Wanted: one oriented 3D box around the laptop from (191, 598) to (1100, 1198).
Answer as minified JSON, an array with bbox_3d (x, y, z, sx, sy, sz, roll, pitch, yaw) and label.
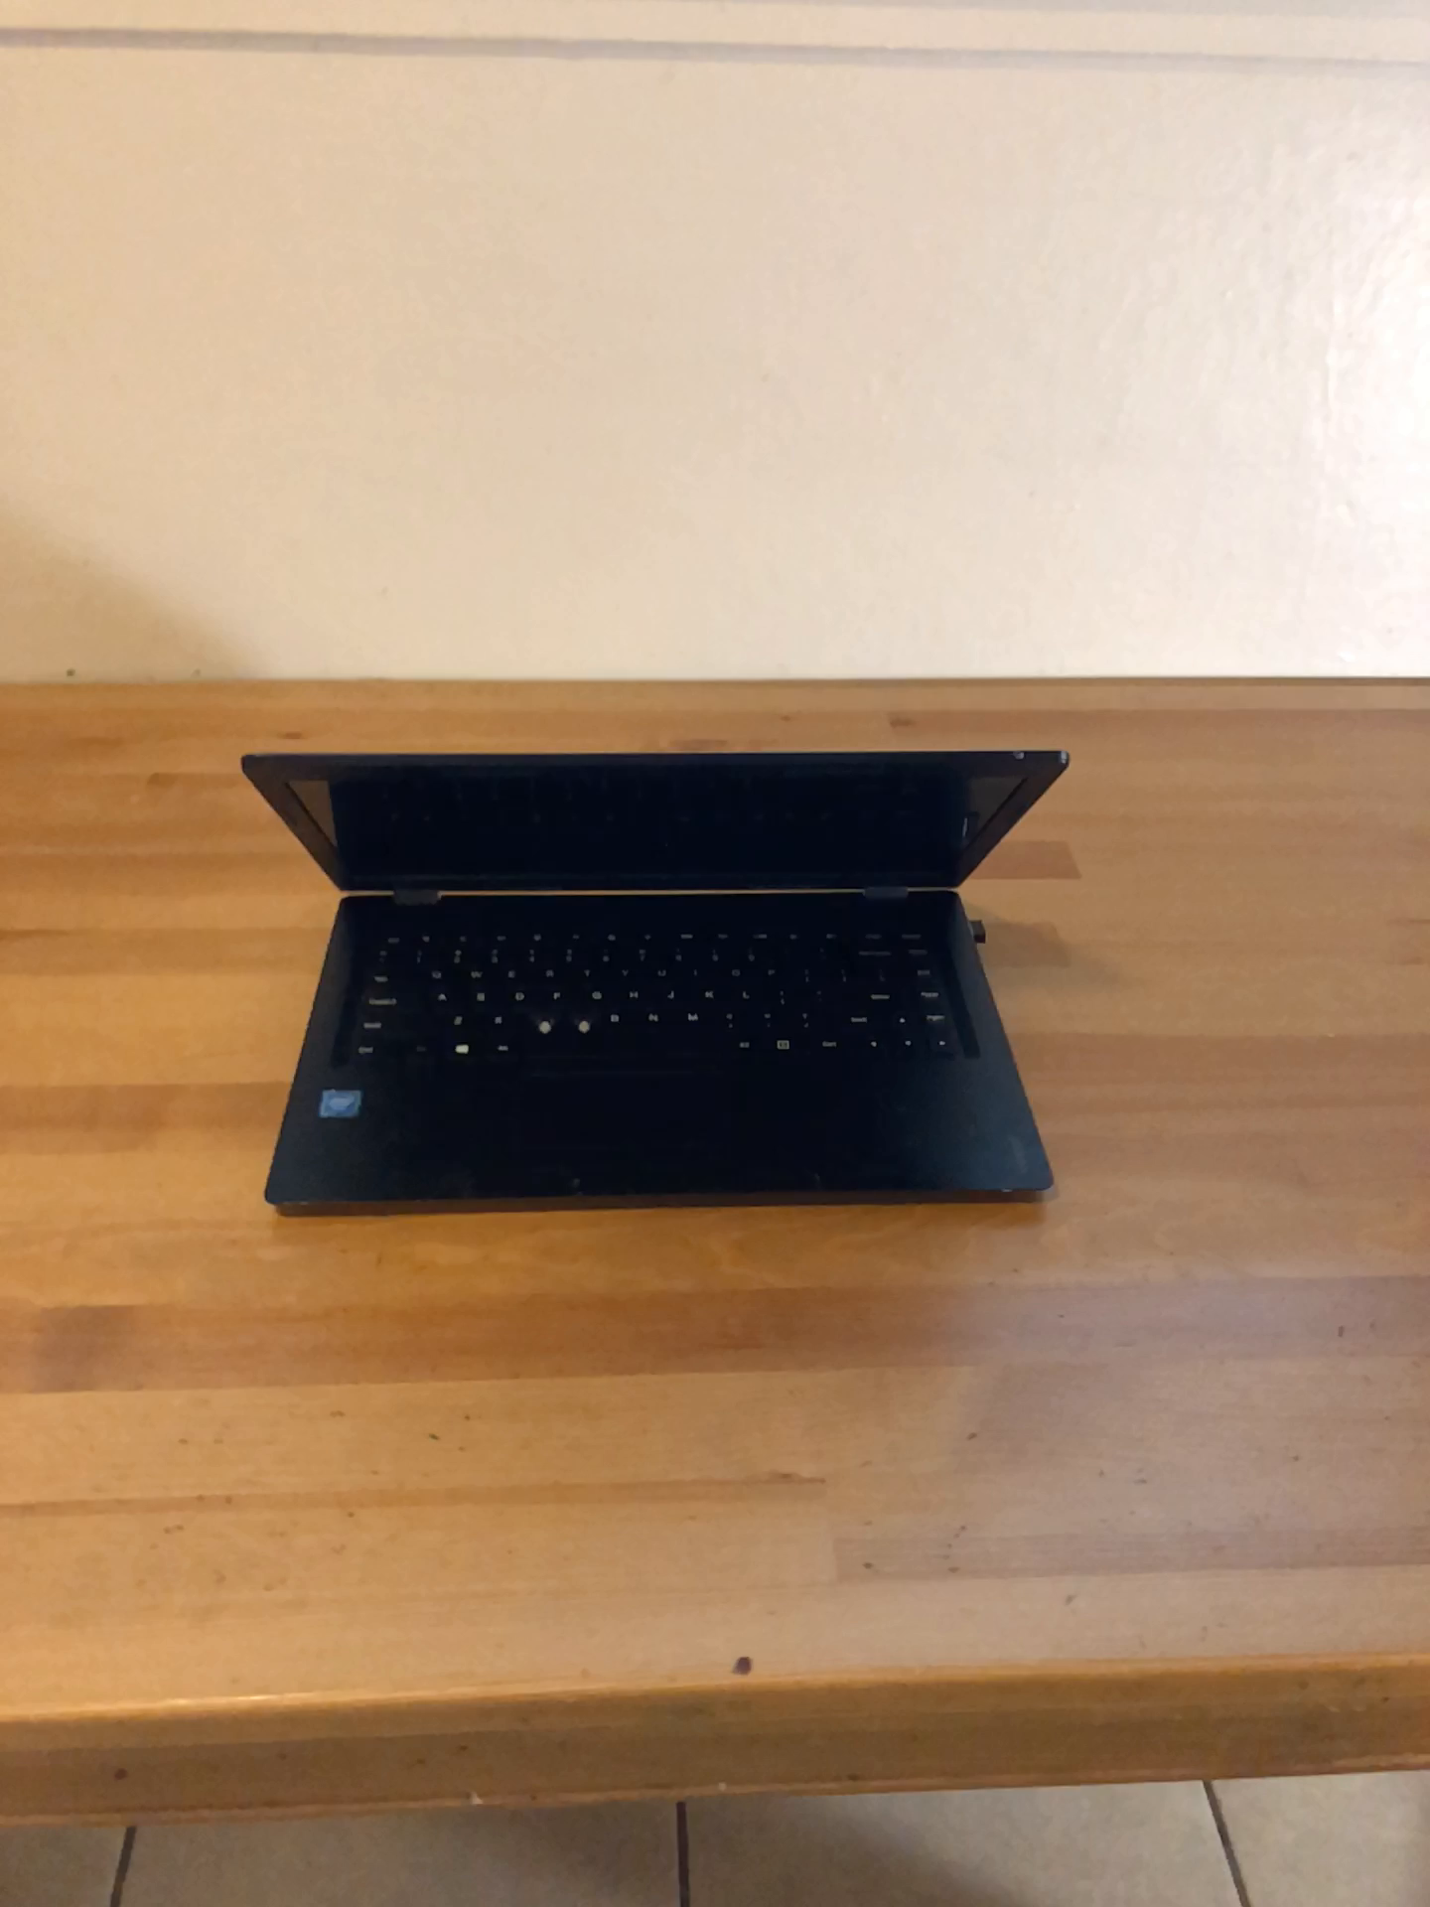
[{"bbox_3d":[-0.028,-0.033,0.682,0.316,0.161,0.217,0,36,-3],"label":"laptop"}]
